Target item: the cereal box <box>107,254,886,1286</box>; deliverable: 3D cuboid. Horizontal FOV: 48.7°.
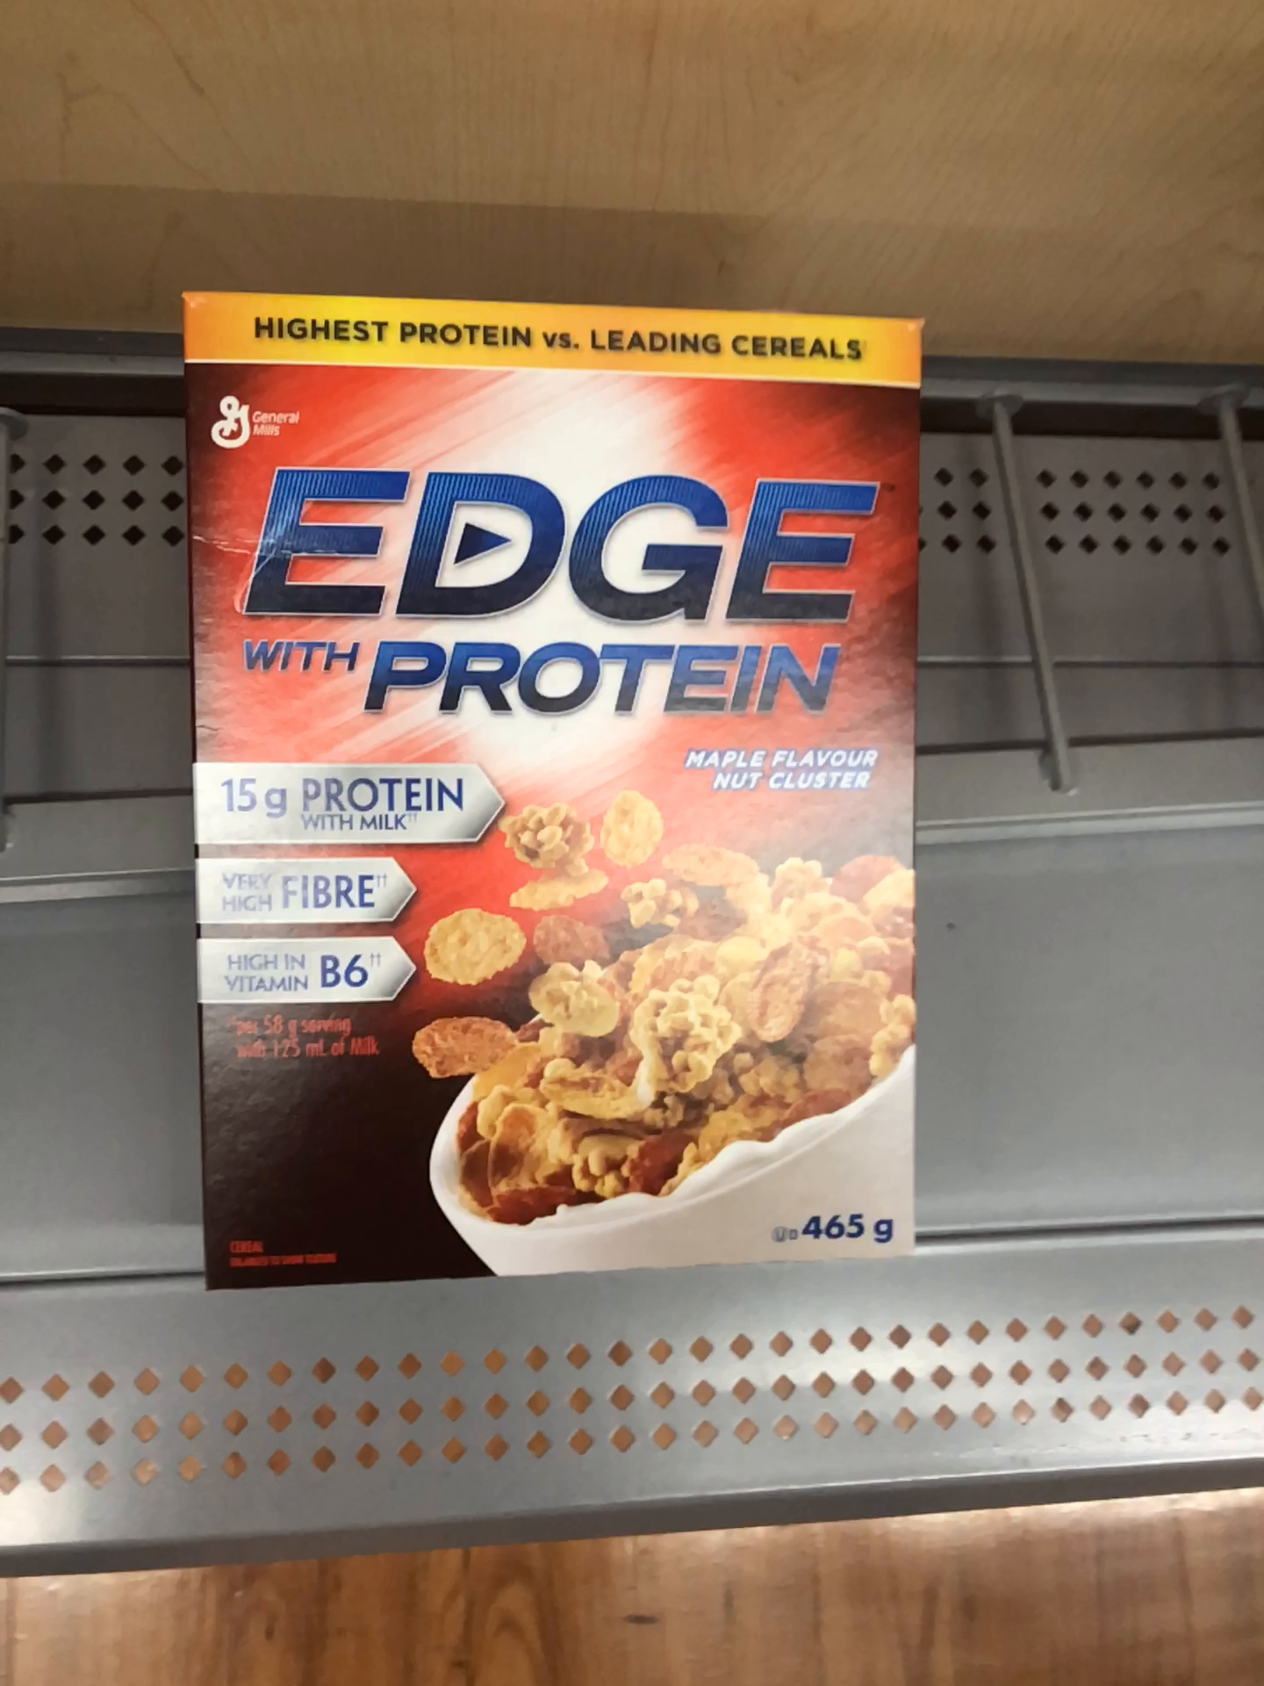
[{"bbox_3d":[-0.035,-0.019,0.397,0.200,0.070,0.260,0,91,-6],"label":"cereal box"}]
